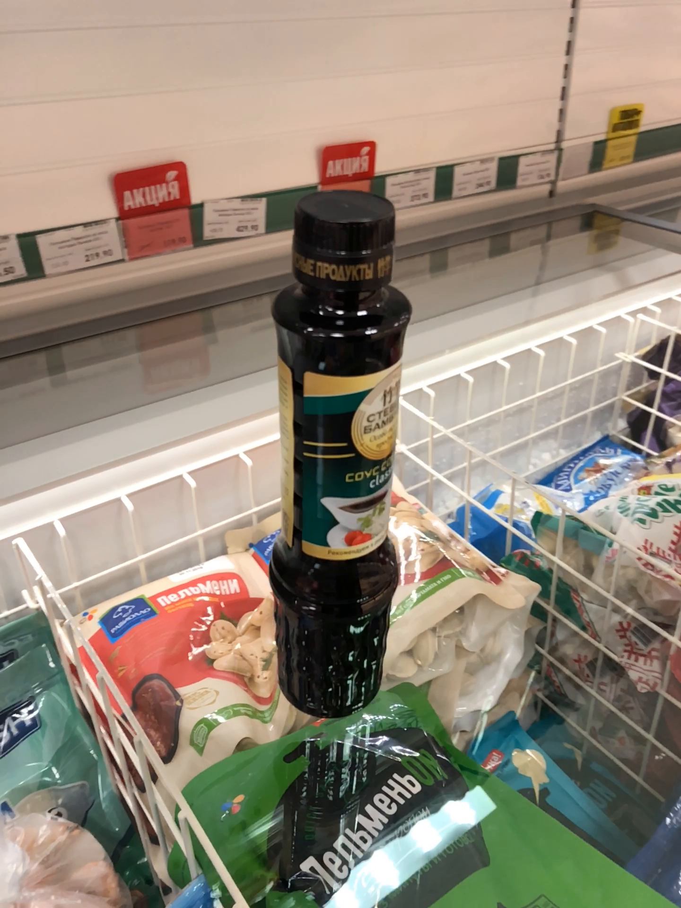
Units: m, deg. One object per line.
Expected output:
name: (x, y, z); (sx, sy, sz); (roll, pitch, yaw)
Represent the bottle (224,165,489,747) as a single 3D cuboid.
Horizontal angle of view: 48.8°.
bottle: (0.003, 0.009, 0.272); (0.053, 0.199, 0.058); (1, 32, -1)
